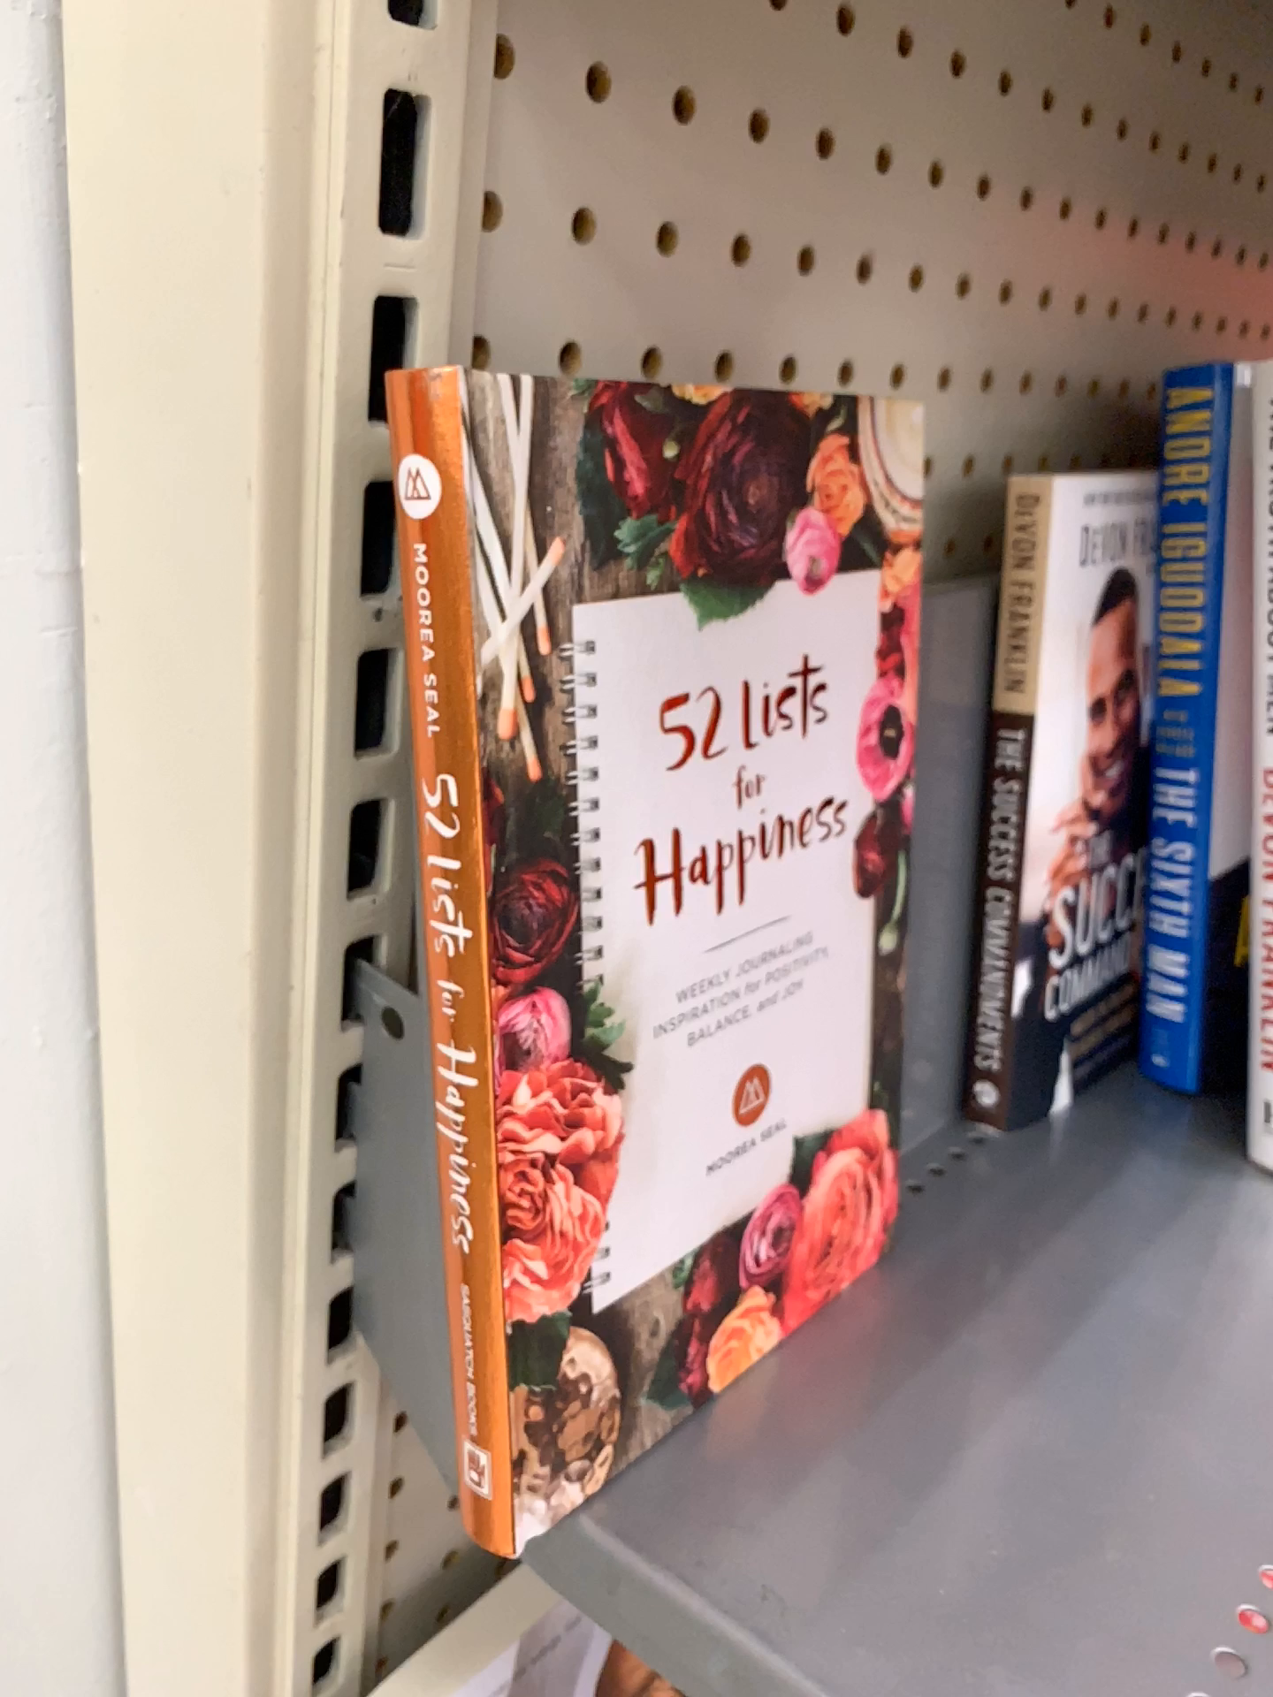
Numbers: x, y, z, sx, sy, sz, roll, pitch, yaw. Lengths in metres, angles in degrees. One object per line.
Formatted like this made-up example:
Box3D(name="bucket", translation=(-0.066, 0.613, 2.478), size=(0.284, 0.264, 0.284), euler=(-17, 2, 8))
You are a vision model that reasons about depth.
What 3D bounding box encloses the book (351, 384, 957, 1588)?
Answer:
Box3D(name="book", translation=(0.017, 0.018, 0.283), size=(0.020, 0.216, 0.150), euler=(12, 21, 41))
